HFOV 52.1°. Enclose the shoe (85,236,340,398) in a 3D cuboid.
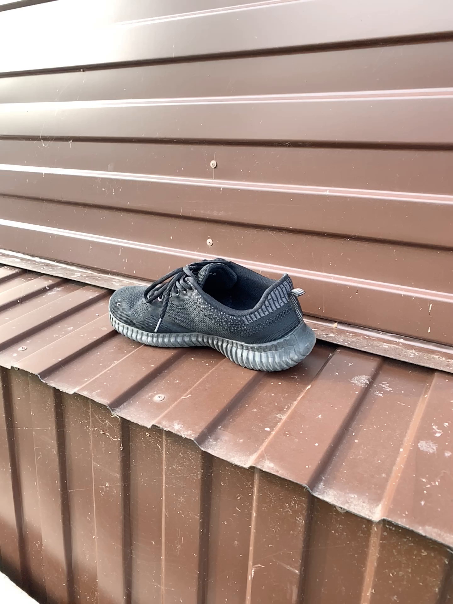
[{"bbox_3d":[-0.020,0.004,0.605,0.300,0.119,0.121,11,28,27],"label":"shoe"}]
